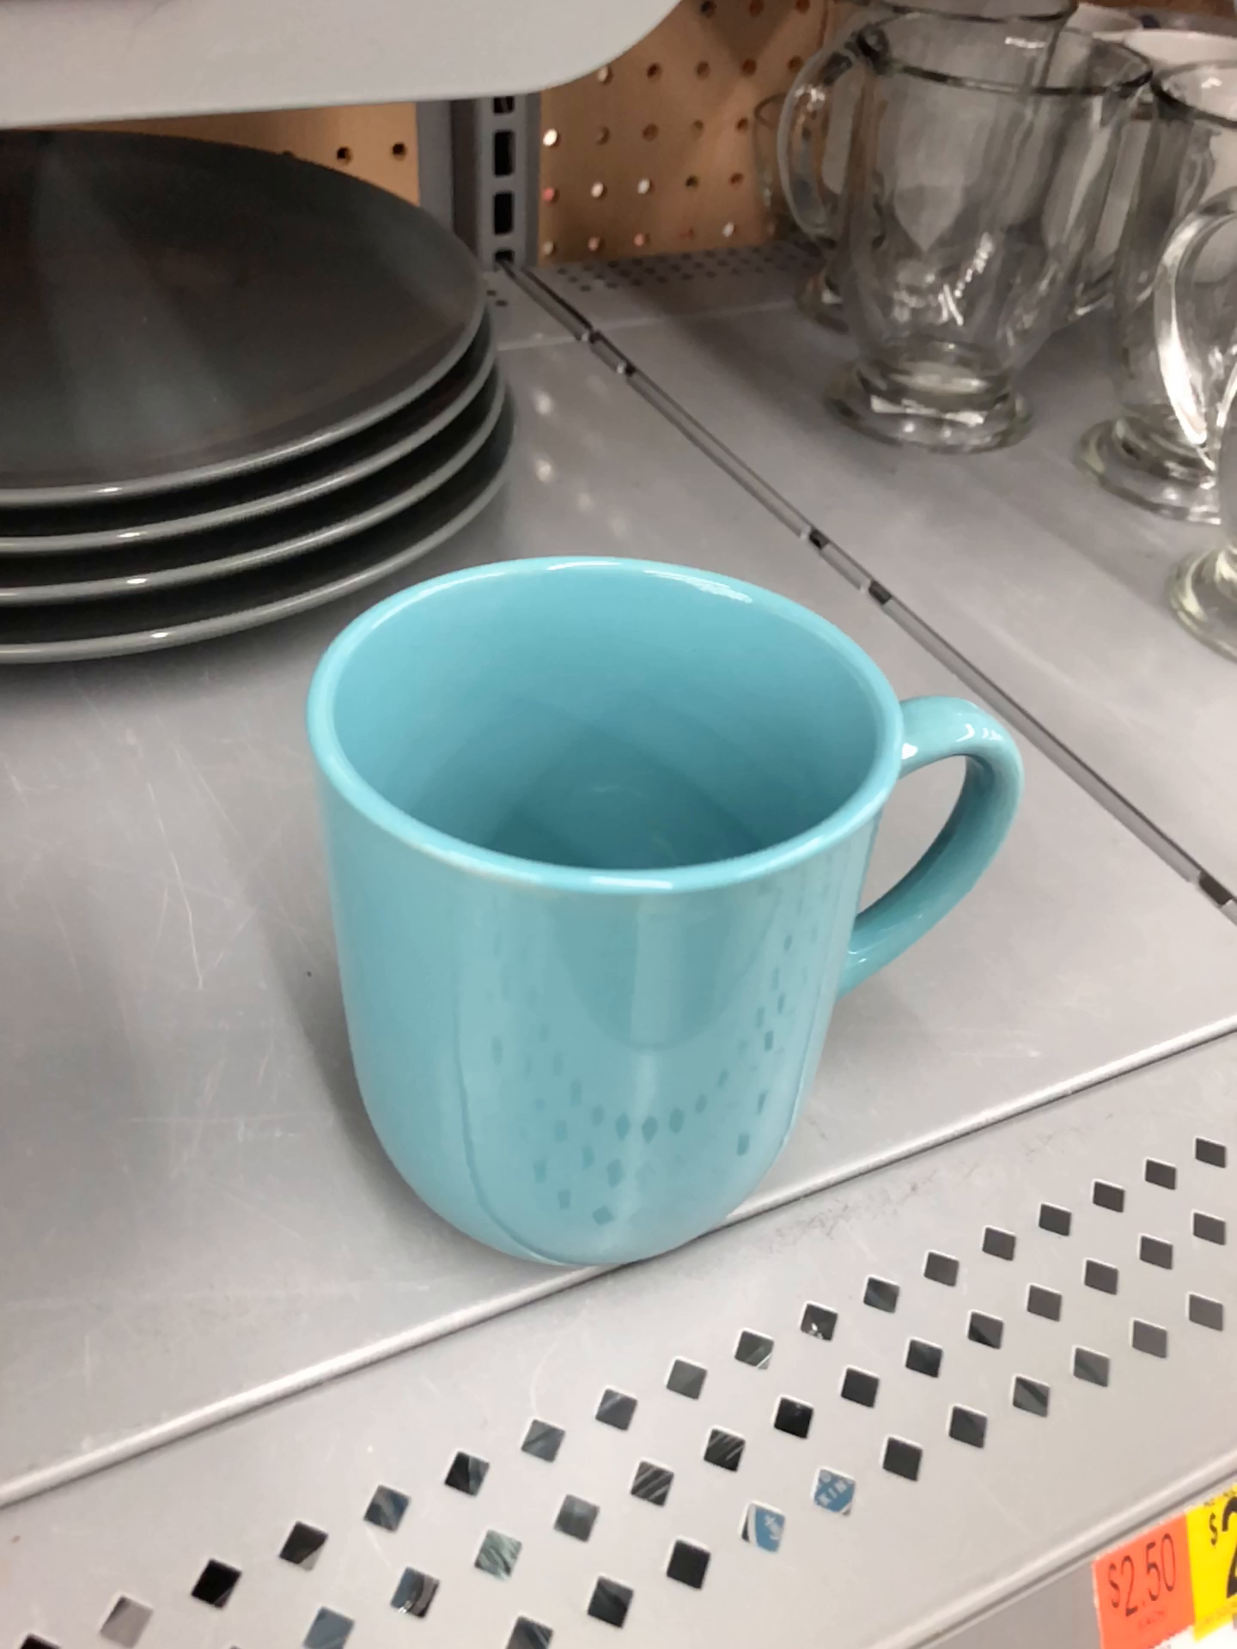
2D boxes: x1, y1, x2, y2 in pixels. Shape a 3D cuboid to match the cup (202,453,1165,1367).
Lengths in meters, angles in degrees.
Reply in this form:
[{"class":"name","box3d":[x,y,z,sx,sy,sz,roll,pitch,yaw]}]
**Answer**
[{"class":"cup","box3d":[0.004,0.007,0.235,0.114,0.091,0.091,-16,44,-23]}]
